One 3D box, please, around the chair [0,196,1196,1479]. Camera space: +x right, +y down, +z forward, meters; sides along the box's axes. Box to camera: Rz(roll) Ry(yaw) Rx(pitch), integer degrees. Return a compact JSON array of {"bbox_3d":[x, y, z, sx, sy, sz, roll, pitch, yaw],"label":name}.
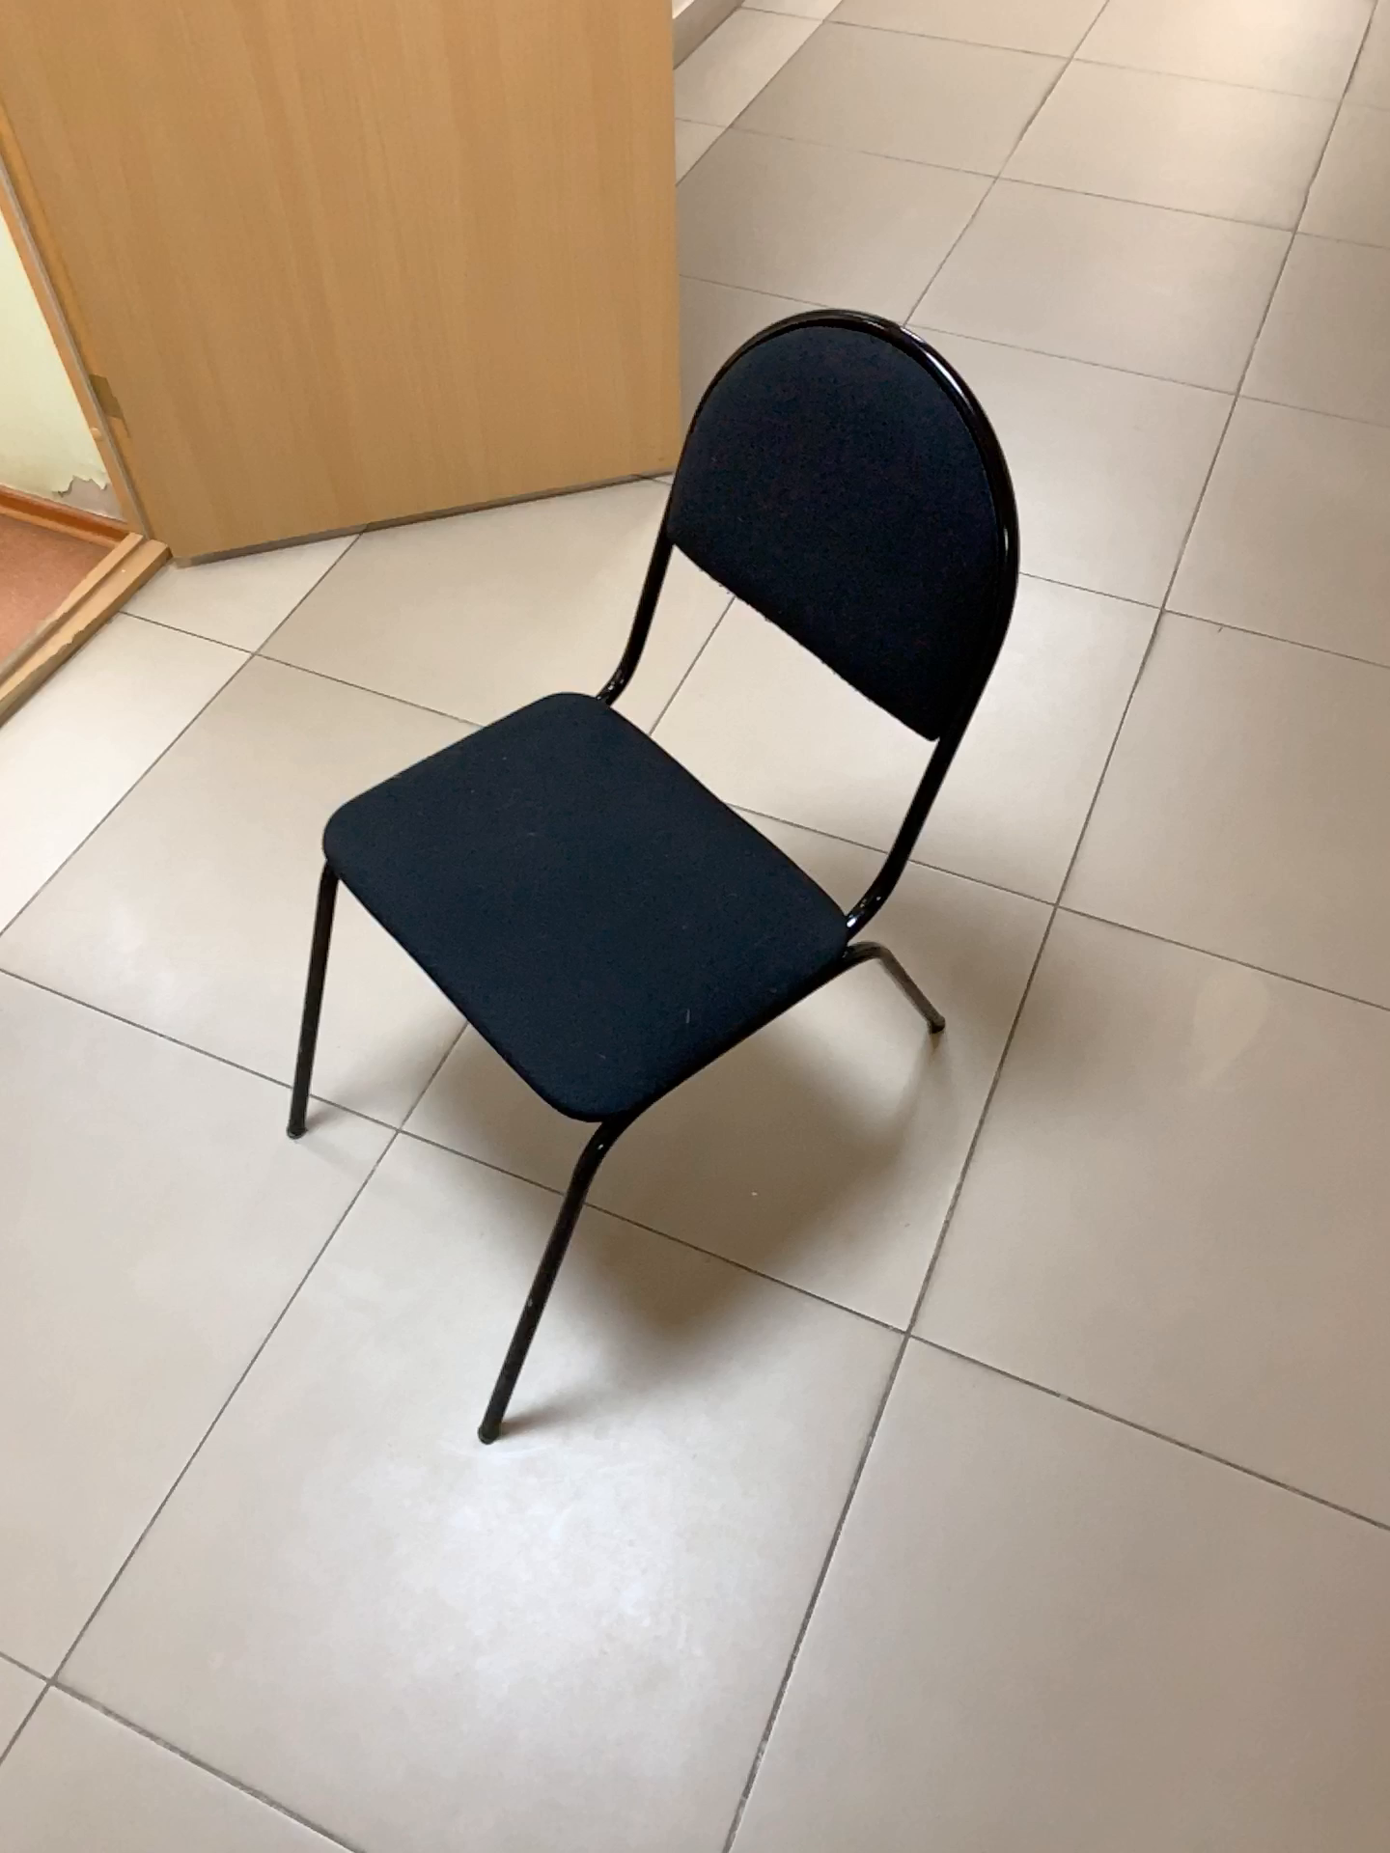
[{"bbox_3d":[-0.082,-0.051,1.236,0.692,0.774,0.482,-33,59,-22],"label":"chair"}]
